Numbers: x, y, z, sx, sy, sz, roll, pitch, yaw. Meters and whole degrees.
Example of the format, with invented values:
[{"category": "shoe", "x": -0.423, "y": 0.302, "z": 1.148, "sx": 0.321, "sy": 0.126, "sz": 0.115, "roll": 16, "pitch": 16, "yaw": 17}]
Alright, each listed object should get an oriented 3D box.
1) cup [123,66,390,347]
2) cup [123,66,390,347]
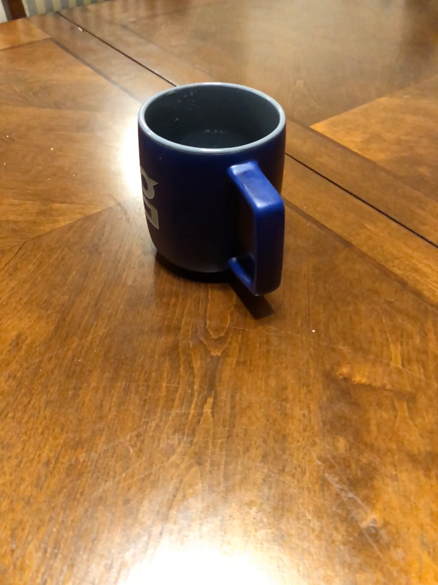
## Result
[{"category": "cup", "x": 0.013, "y": -0.063, "z": 0.316, "sx": 0.100, "sy": 0.099, "sz": 0.141, "roll": -18, "pitch": 49, "yaw": -18}, {"category": "cup", "x": 0.013, "y": -0.063, "z": 0.316, "sx": 0.100, "sy": 0.099, "sz": 0.141, "roll": -18, "pitch": 49, "yaw": -18}]
